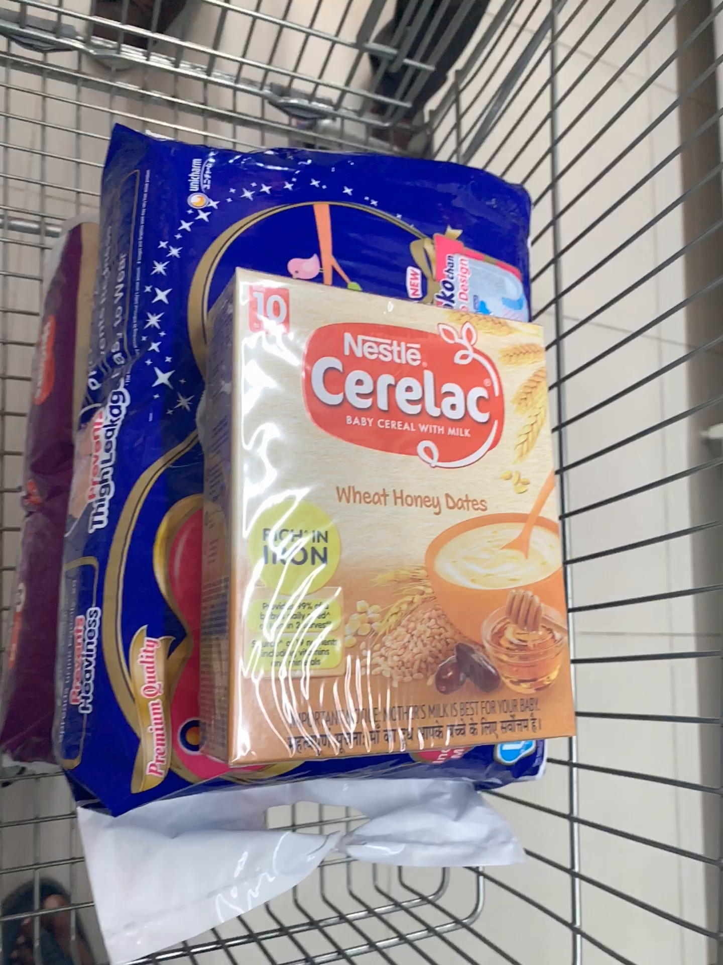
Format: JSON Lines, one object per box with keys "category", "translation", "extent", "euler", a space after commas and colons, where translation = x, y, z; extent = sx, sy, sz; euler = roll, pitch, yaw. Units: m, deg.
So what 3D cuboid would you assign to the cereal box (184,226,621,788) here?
{"category": "cereal box", "translation": [0.015, 0.012, 0.309], "extent": [0.160, 0.060, 0.190], "euler": [4, 77, -25]}
